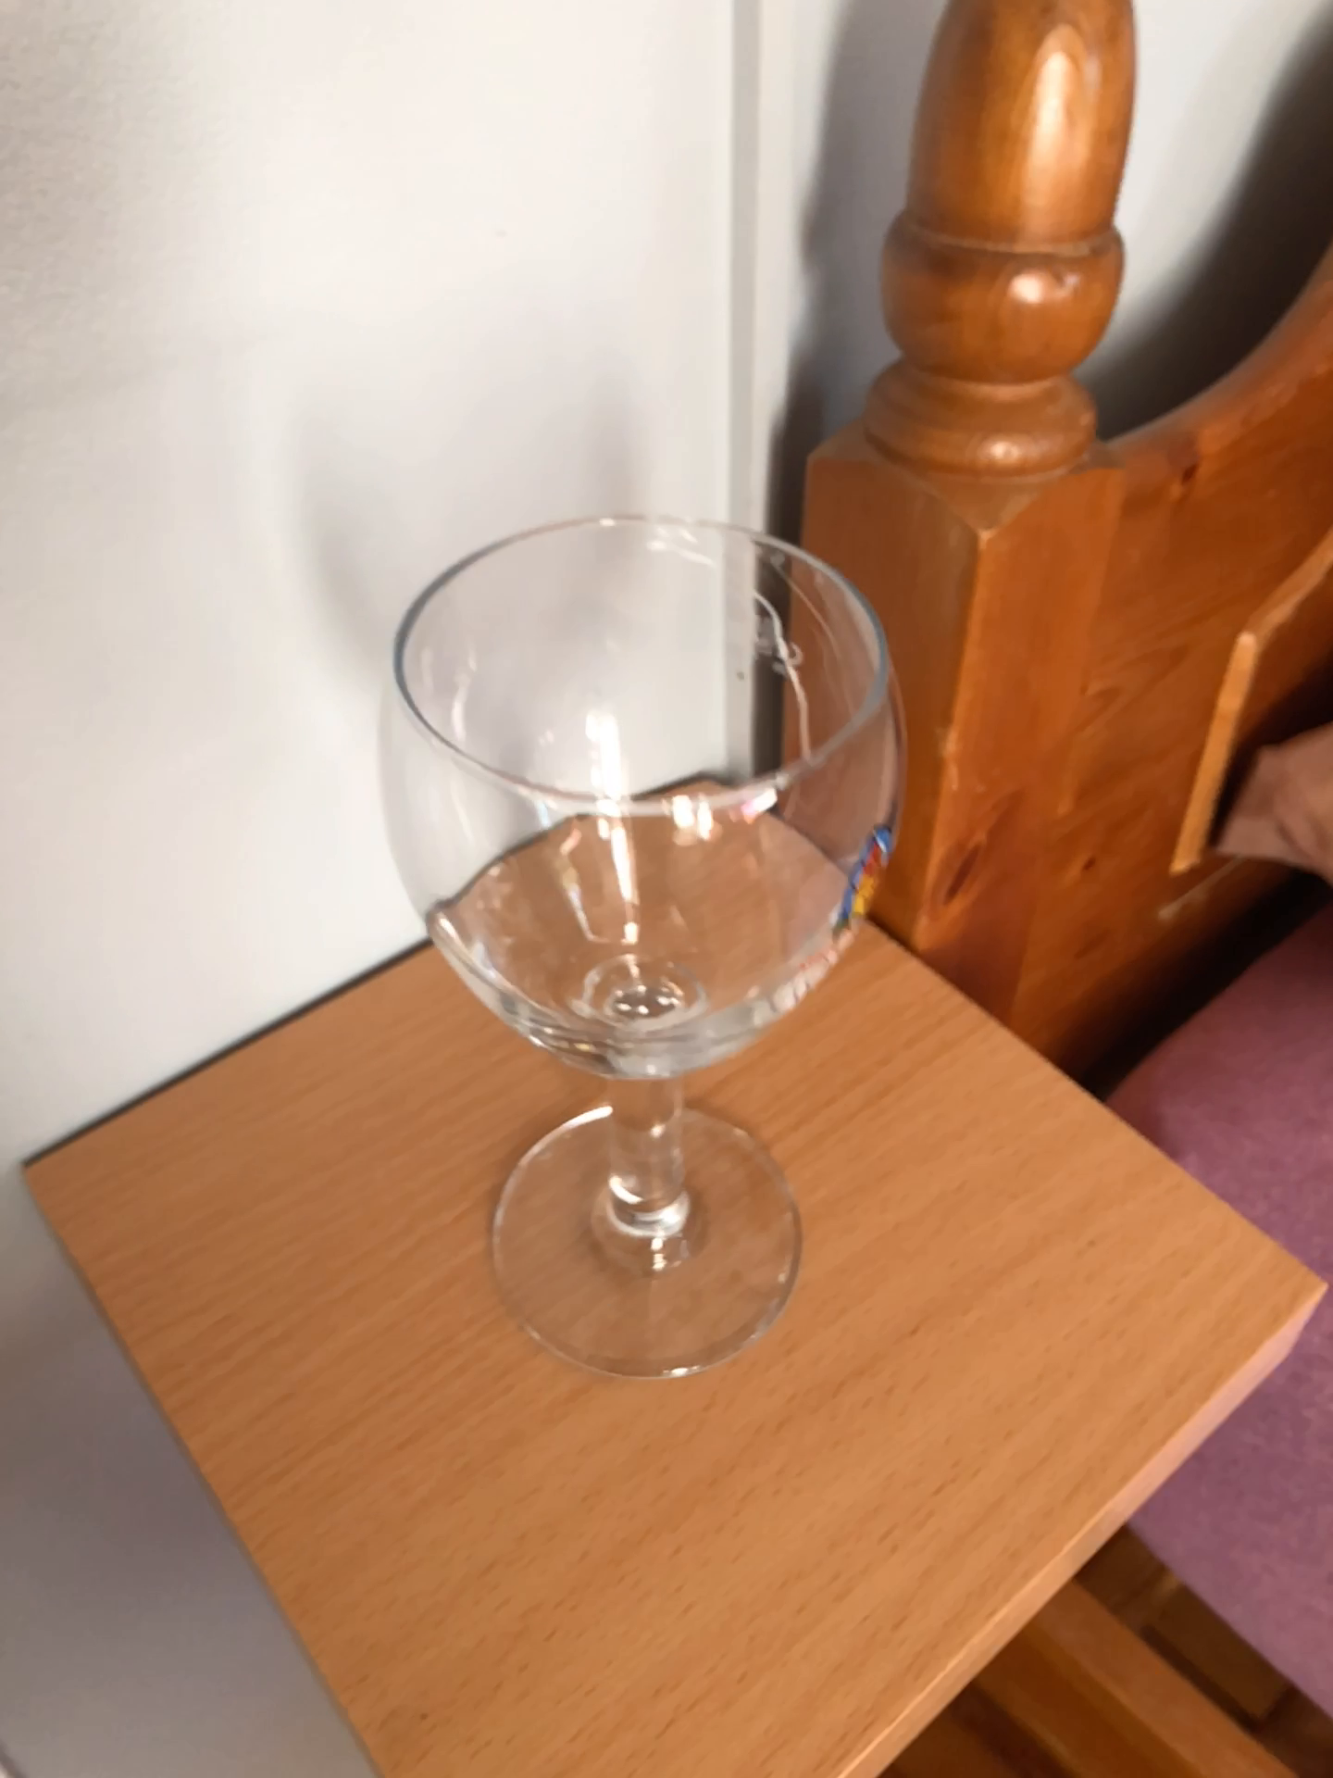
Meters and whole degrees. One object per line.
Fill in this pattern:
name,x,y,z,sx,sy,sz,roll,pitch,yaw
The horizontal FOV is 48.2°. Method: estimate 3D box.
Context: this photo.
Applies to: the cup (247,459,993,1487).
cup,-0.006,0.020,0.332,0.100,0.184,0.096,0,39,0
